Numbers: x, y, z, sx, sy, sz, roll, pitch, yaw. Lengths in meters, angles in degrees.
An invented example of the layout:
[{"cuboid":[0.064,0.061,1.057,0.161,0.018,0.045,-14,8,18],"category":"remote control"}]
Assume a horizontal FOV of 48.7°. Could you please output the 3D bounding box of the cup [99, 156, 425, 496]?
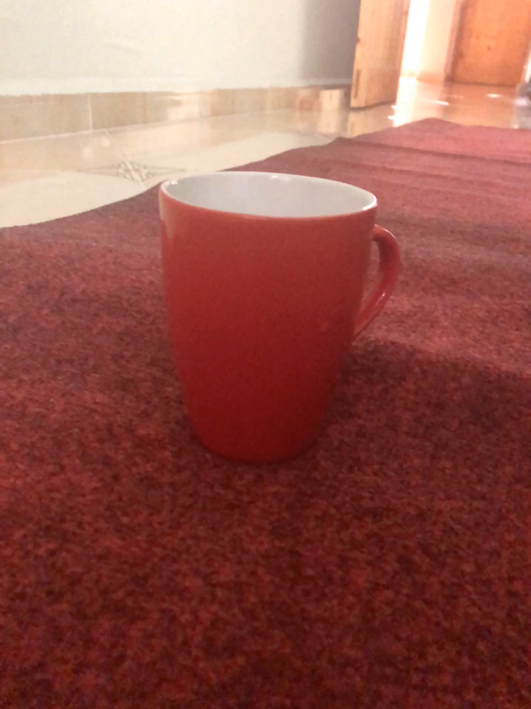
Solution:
[{"cuboid":[0.003,-0.023,0.244,0.078,0.094,0.109,18,30,28],"category":"cup"}]
